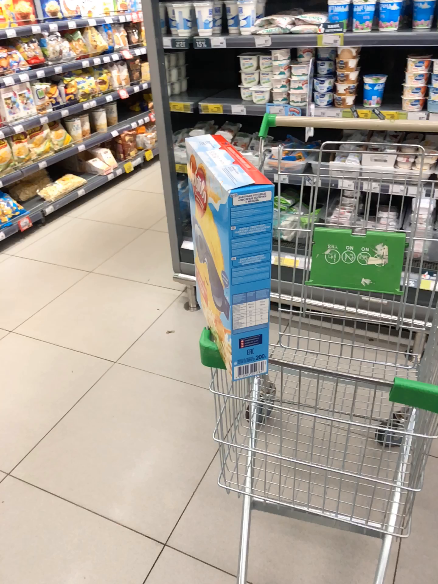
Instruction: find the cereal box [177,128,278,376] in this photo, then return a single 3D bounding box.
[{"bbox_3d":[0.008,-0.057,0.620,0.060,0.248,0.201,-11,34,-12],"label":"cereal box"}]
